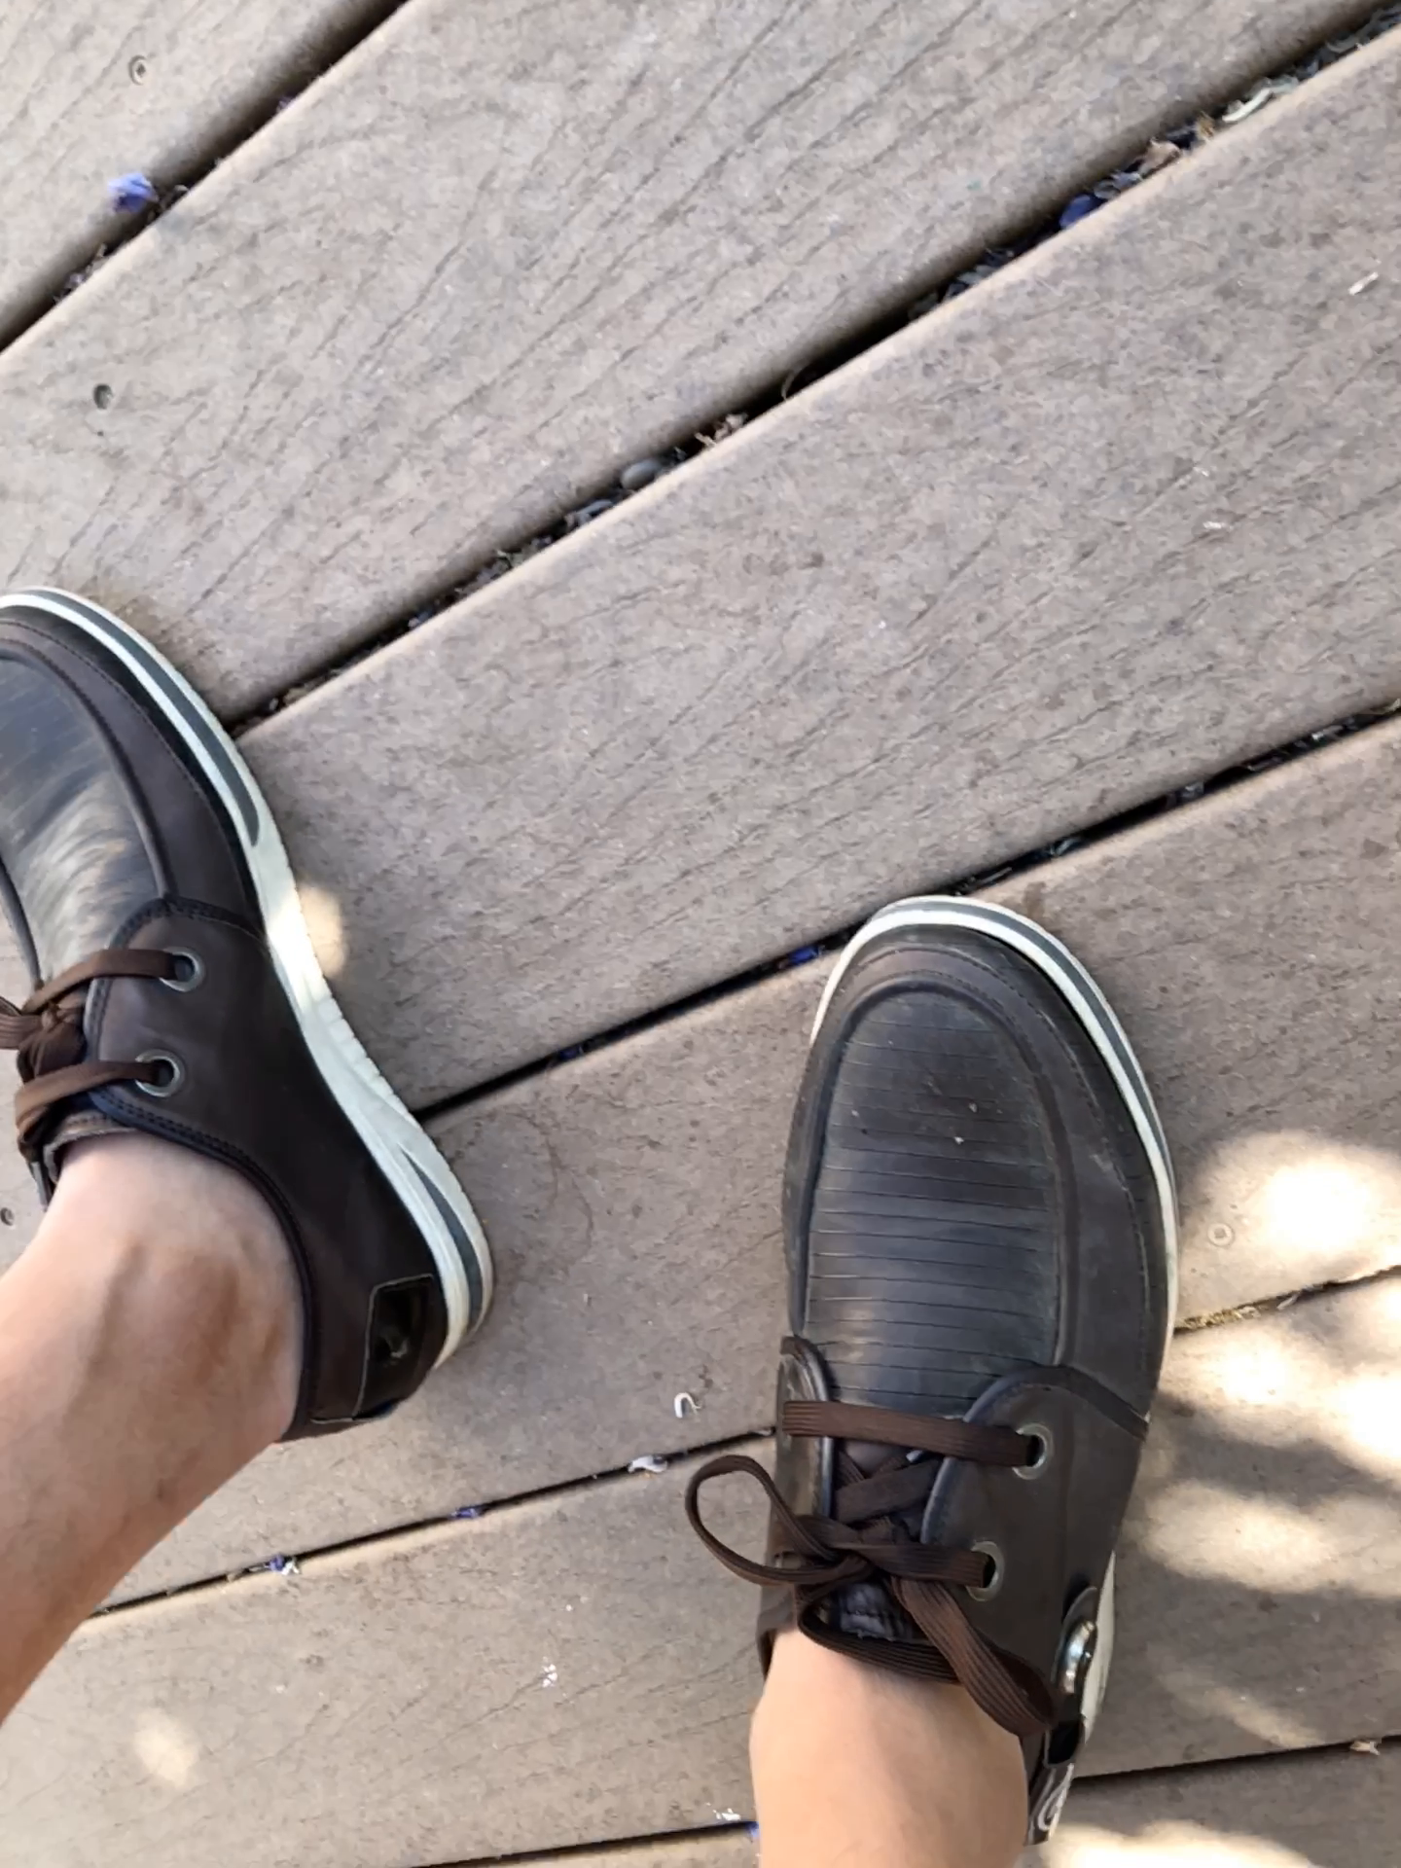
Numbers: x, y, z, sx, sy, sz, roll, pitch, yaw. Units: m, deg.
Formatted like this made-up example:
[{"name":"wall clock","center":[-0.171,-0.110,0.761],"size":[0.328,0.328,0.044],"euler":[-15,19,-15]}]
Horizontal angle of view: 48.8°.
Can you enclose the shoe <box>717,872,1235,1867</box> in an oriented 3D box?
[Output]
[{"name":"shoe","center":[0.069,0.132,0.401],"size":[0.104,0.089,0.277],"euler":[6,107,20]}]

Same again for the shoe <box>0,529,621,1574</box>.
[{"name":"shoe","center":[-0.156,0.030,0.466],"size":[0.104,0.096,0.283],"euler":[-30,92,26]}]
